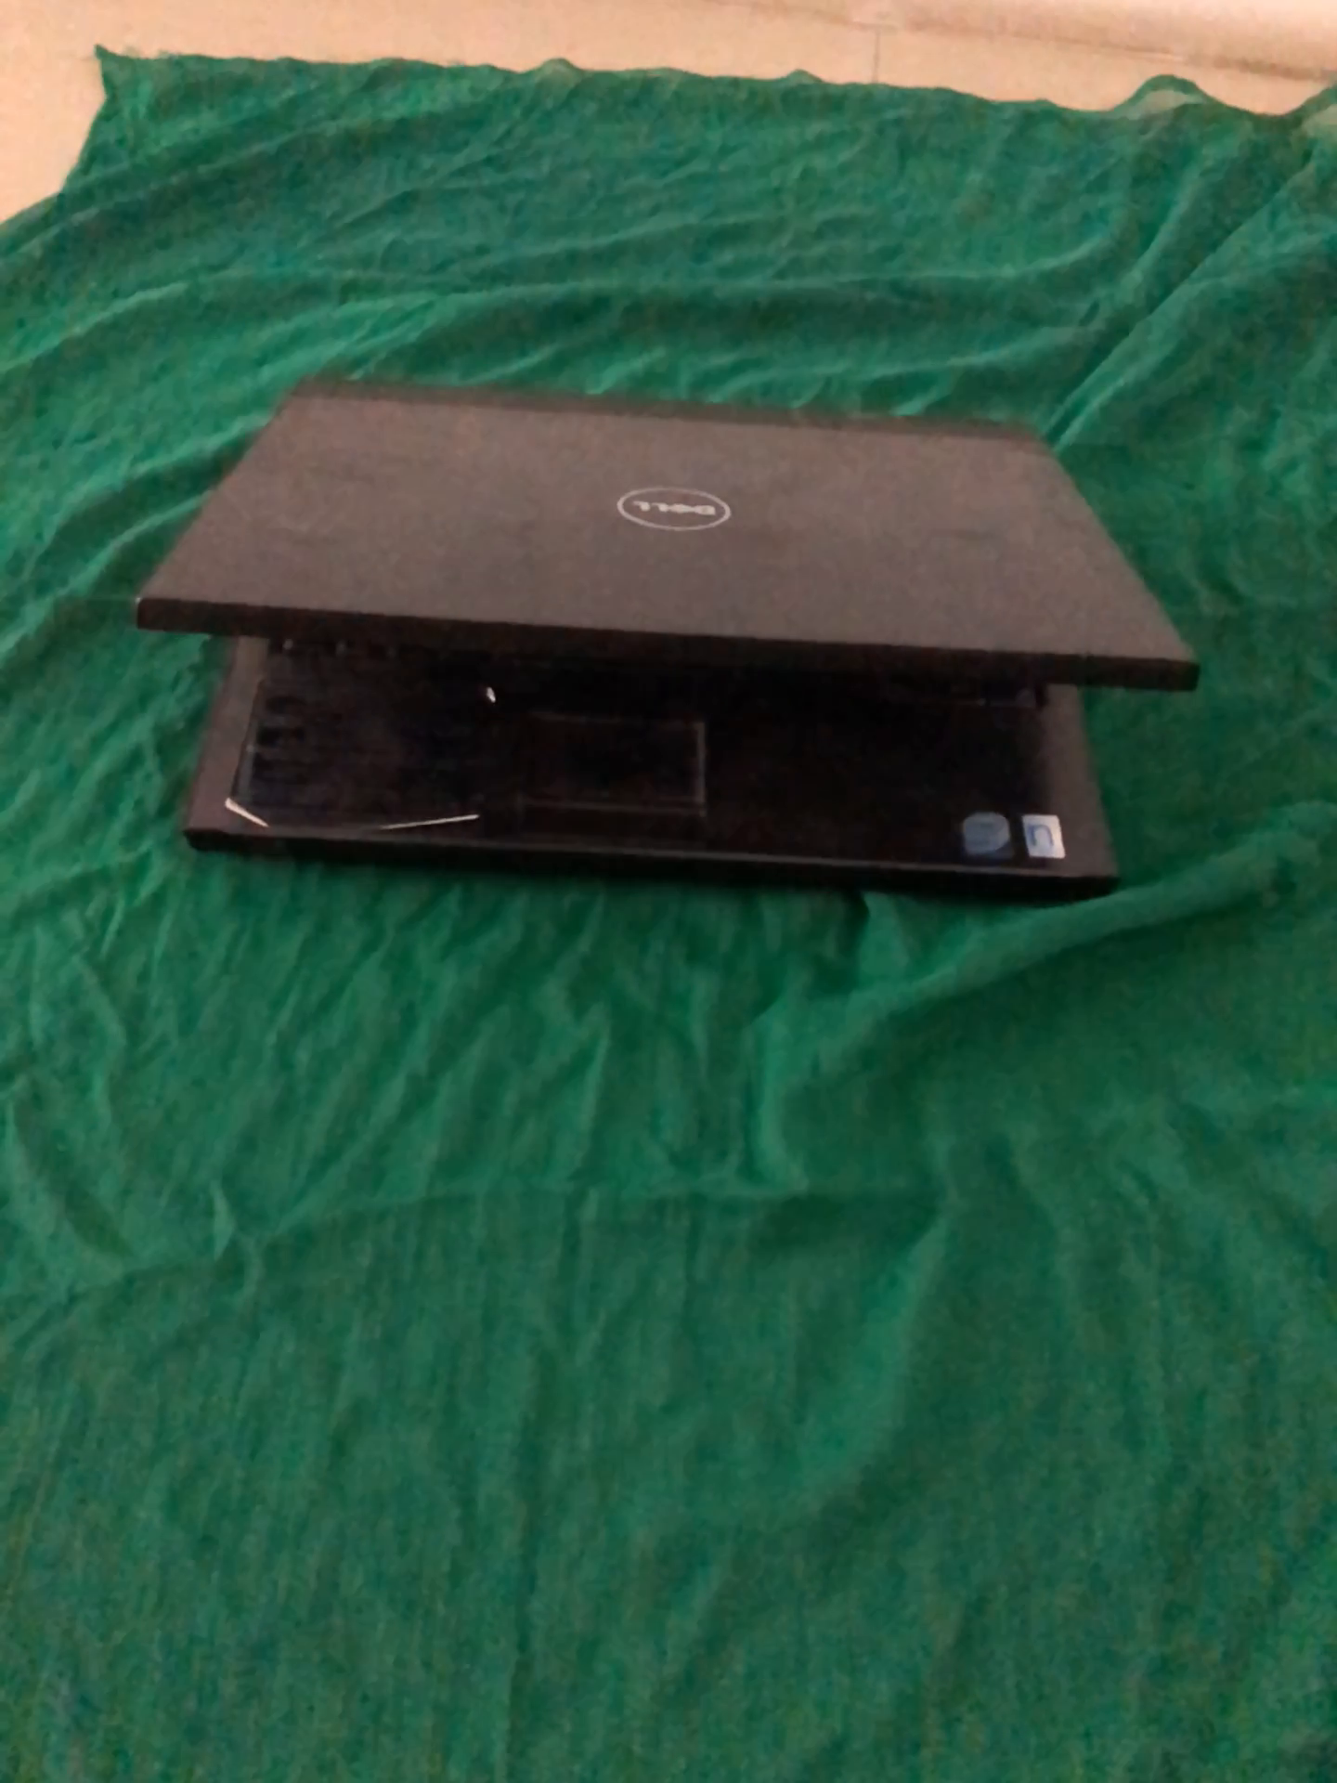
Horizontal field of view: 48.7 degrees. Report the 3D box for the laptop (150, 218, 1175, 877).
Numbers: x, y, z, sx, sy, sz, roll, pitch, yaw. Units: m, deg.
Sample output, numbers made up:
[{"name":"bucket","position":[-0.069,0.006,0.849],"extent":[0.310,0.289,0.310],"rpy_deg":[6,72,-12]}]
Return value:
[{"name":"laptop","position":[0.003,-0.129,0.527],"extent":[0.306,0.066,0.227],"rpy_deg":[3,57,-2]}]
